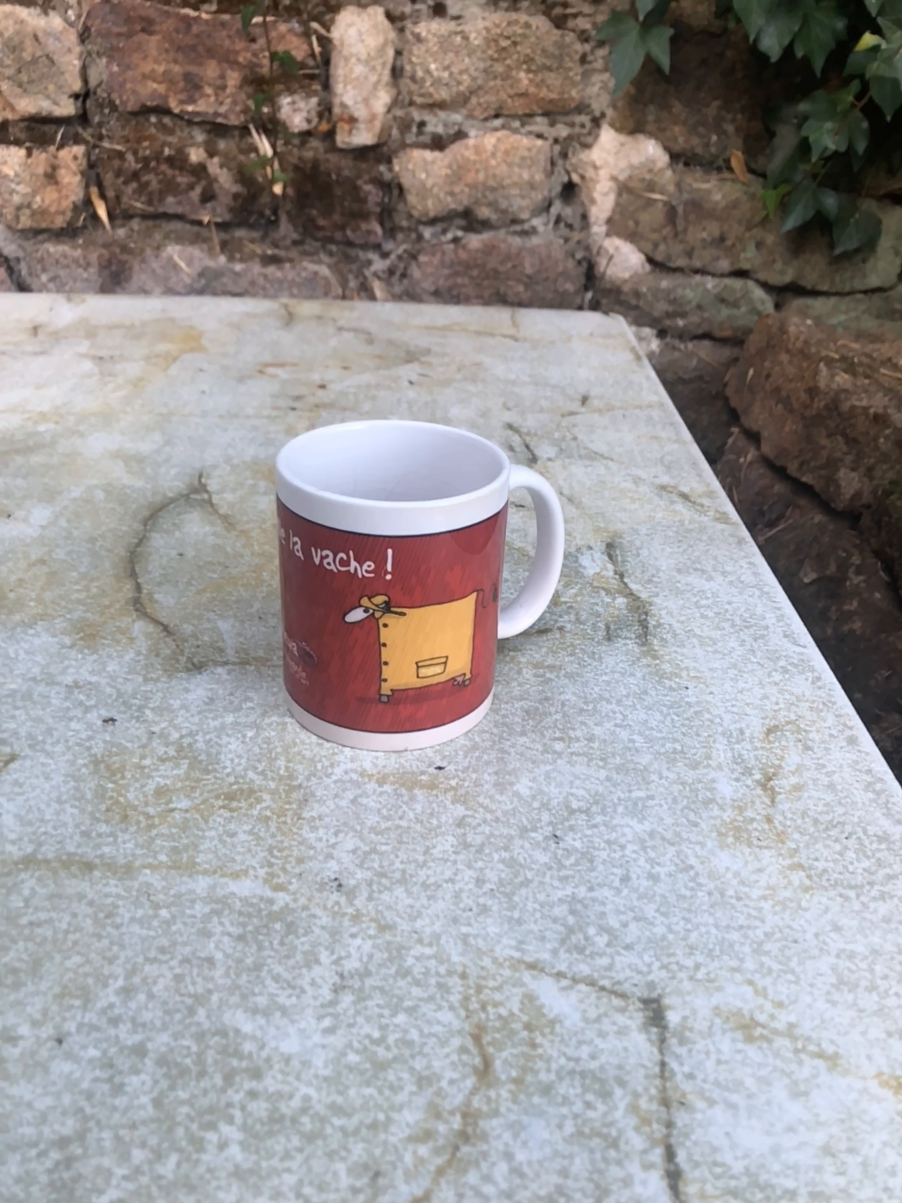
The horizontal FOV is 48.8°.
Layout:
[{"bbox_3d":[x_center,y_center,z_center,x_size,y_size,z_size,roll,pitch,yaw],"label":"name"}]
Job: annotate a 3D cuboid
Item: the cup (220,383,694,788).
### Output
[{"bbox_3d":[0.001,-0.014,0.346,0.130,0.083,0.086,-17,35,-29],"label":"cup"}]
